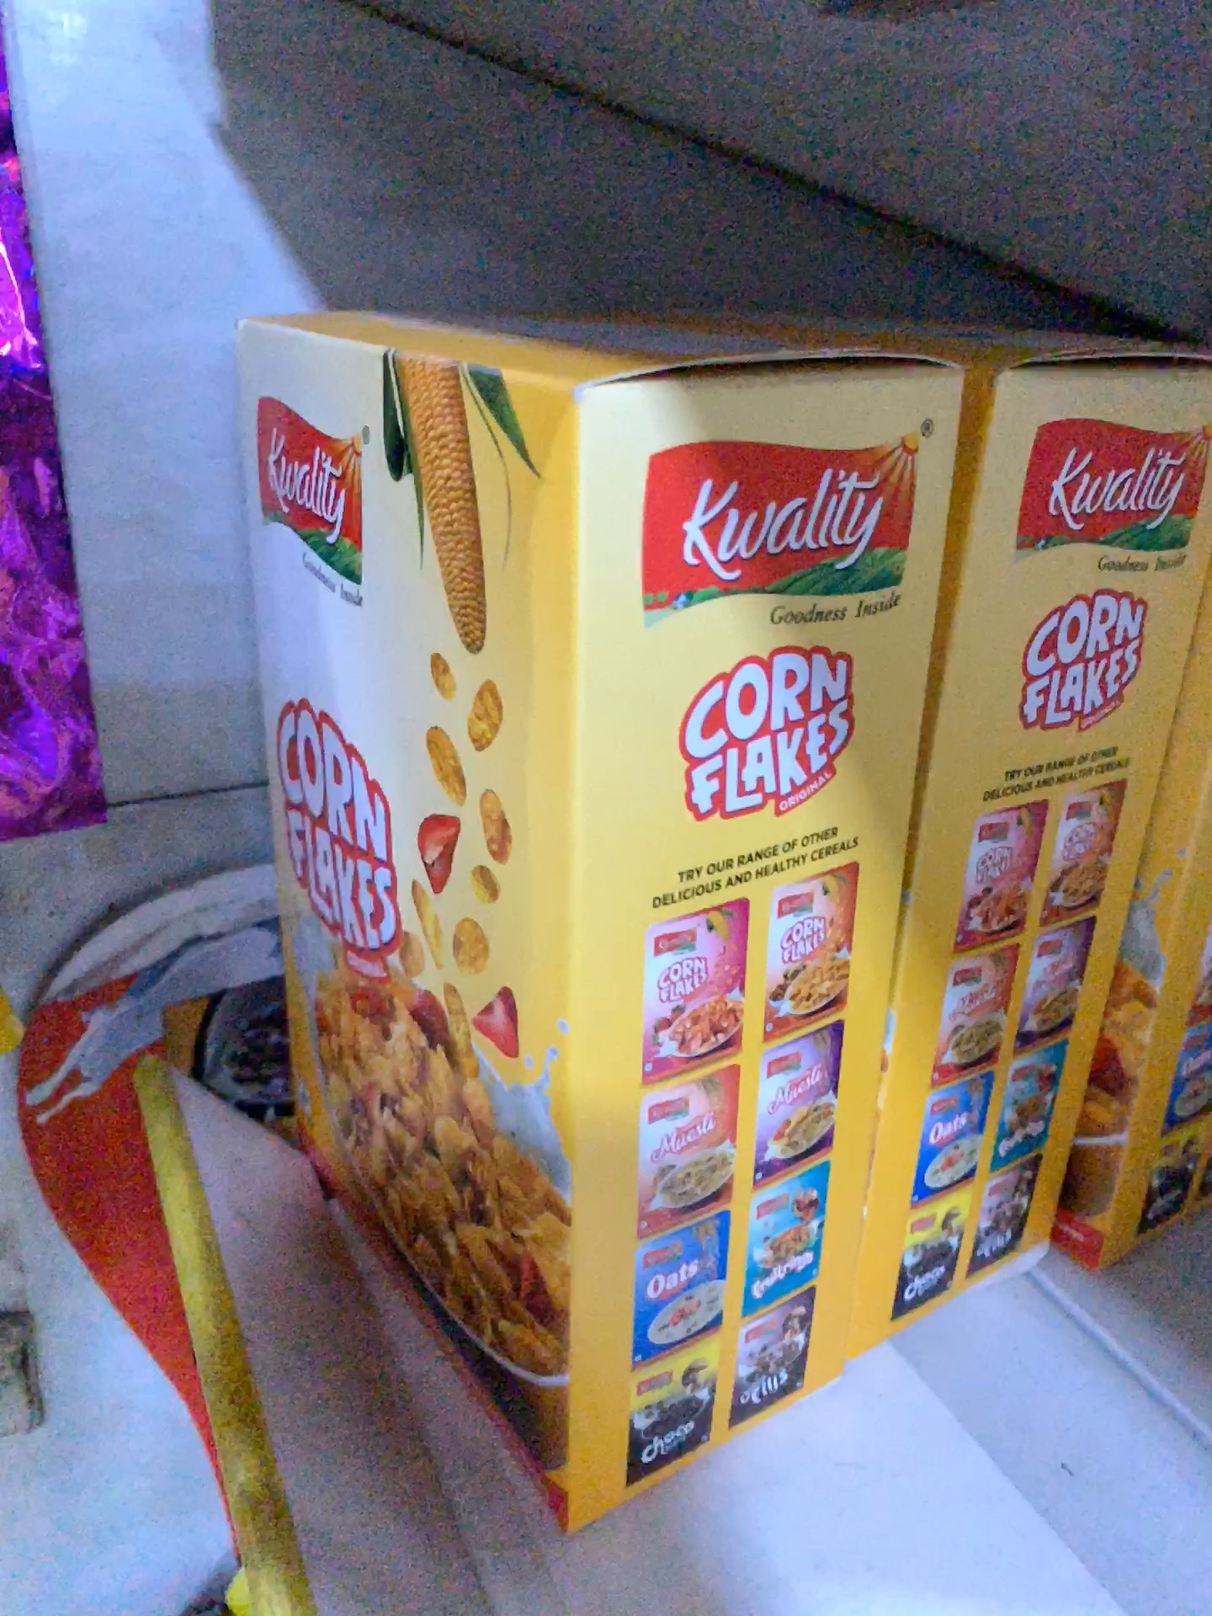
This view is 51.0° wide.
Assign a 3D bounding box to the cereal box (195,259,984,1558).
[{"bbox_3d":[-0.015,0.004,0.220,0.060,0.179,0.121,-12,26,-31],"label":"cereal box"}]
